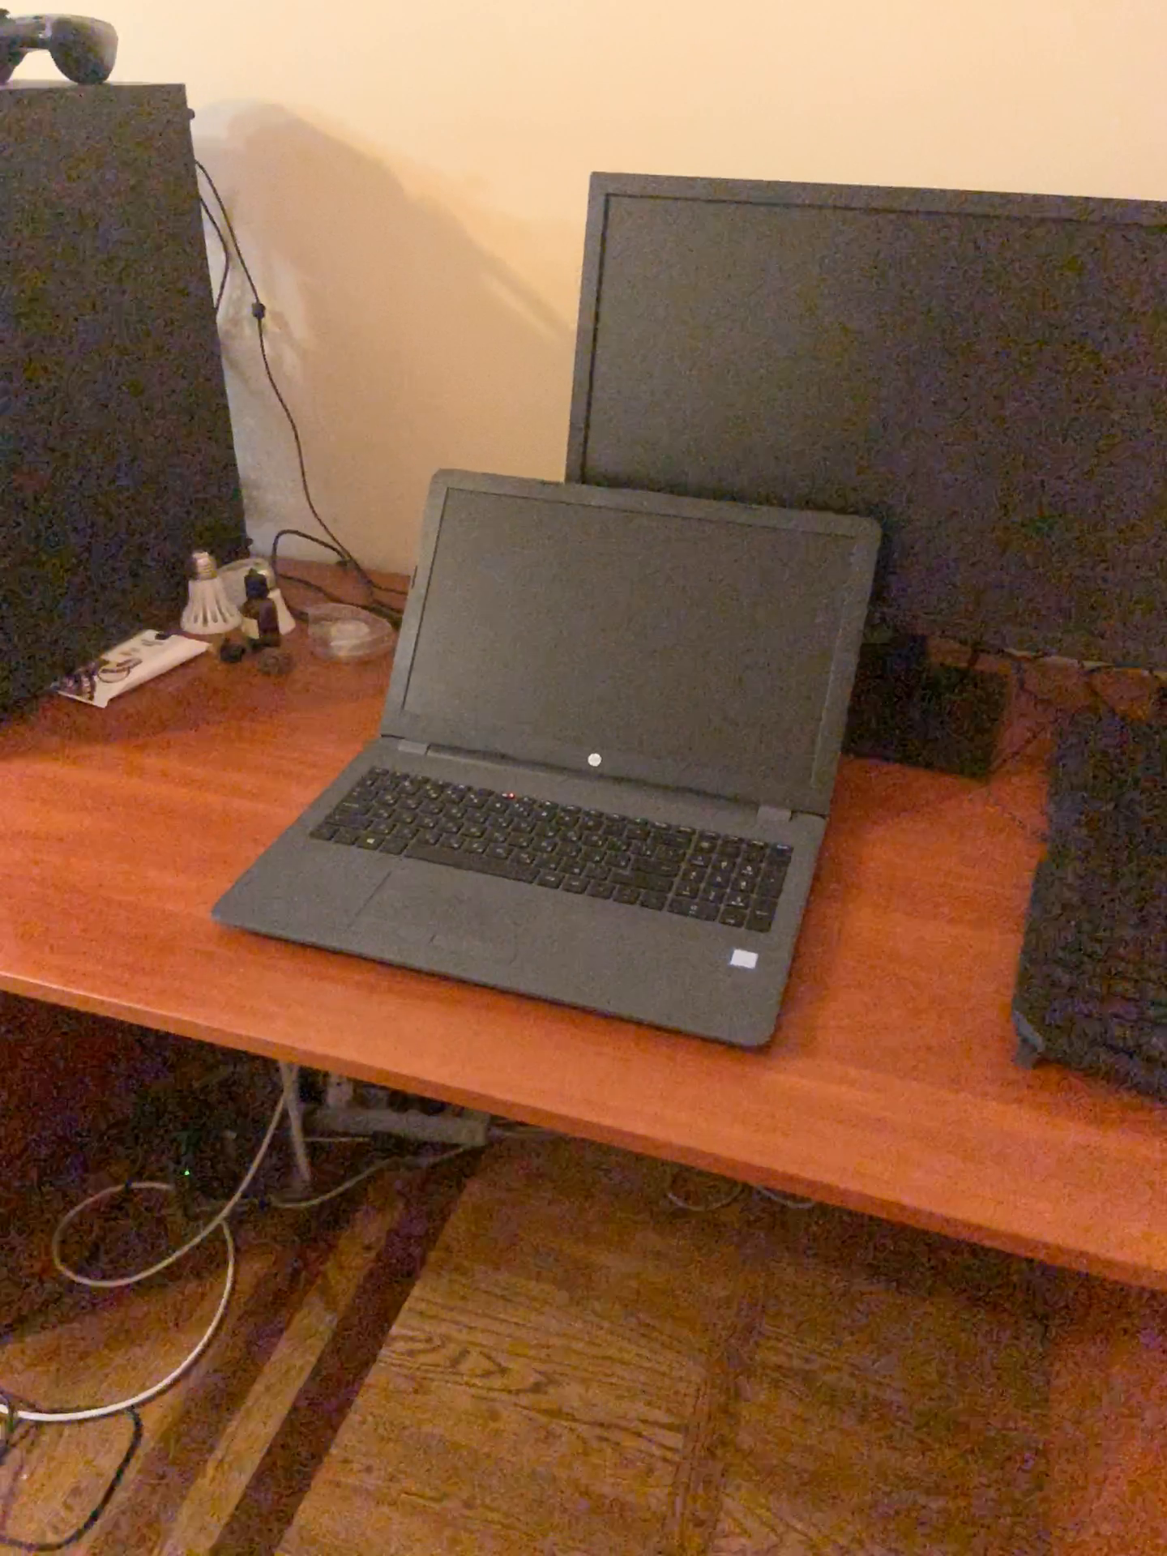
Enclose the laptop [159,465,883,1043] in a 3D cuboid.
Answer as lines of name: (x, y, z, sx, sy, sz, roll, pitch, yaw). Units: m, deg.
laptop: (-0.009, -0.056, 0.841, 0.372, 0.188, 0.393, 10, 32, 14)
